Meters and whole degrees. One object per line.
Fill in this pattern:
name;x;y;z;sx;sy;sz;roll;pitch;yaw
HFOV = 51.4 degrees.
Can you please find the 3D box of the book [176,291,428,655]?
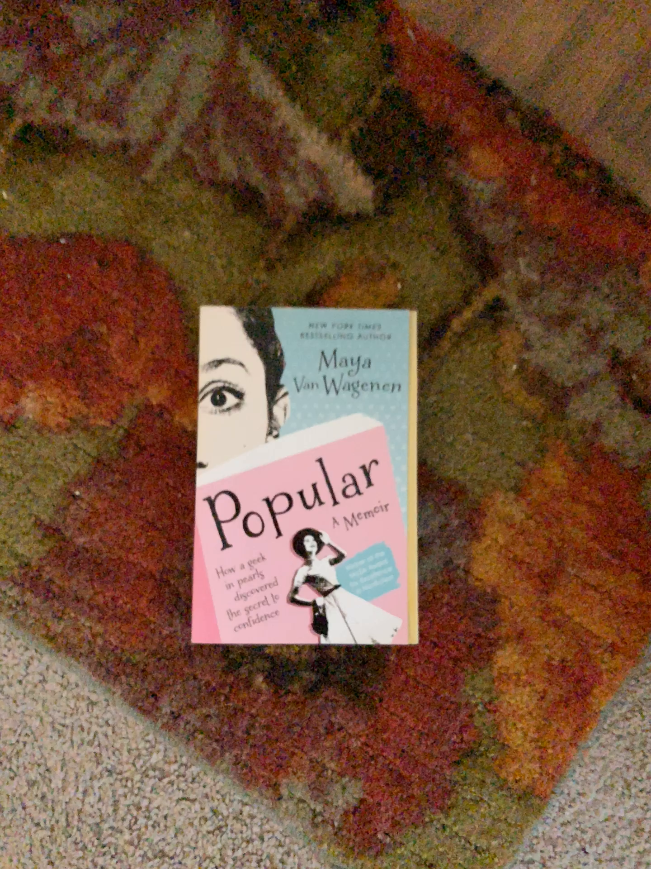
book;-0.013;0.023;0.427;0.150;0.030;0.220;1;85;-1
